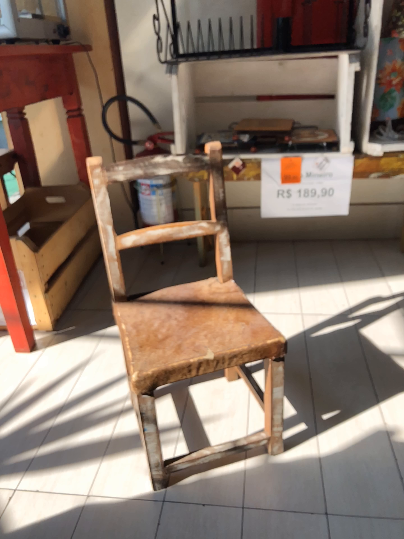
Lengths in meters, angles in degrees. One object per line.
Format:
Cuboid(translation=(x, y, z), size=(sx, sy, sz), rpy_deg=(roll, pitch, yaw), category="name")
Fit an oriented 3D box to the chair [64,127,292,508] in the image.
Cuboid(translation=(-0.048, 0.068, 0.884), size=(0.300, 0.596, 0.342), rpy_deg=(-12, 26, -16), category="chair")
